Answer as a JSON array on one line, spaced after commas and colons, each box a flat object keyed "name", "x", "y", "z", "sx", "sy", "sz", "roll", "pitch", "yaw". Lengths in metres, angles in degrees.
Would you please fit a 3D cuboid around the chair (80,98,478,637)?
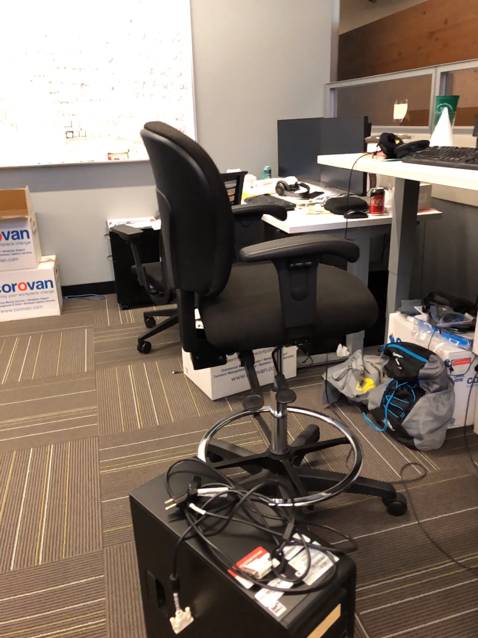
[{"name": "chair", "x": 0.118, "y": -0.009, "z": 1.520, "sx": 0.960, "sy": 1.105, "sz": 0.894, "roll": -8, "pitch": 21, "yaw": -15}]
